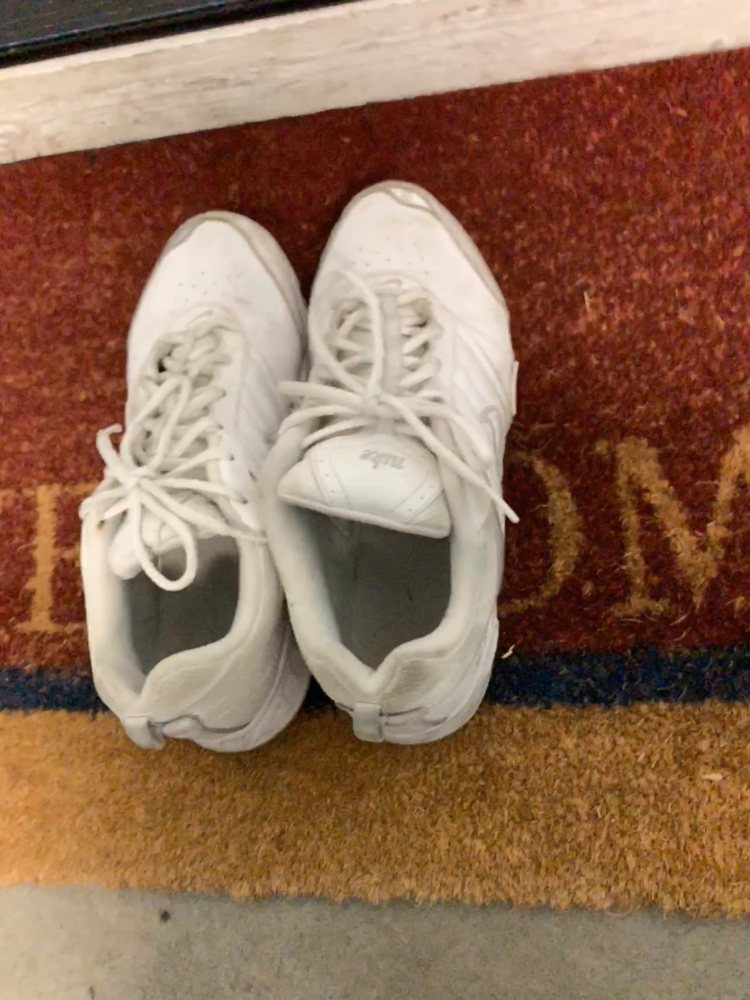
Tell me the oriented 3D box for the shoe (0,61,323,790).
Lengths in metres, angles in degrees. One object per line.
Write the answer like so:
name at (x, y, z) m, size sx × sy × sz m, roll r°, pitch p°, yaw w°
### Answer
shoe at (-0.098, -0.029, 0.384) m, size 0.110 × 0.130 × 0.301 m, roll -3°, pitch 79°, yaw 12°

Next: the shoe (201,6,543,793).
shoe at (0.007, -0.037, 0.360) m, size 0.120 × 0.130 × 0.301 m, roll -3°, pitch 79°, yaw 12°
